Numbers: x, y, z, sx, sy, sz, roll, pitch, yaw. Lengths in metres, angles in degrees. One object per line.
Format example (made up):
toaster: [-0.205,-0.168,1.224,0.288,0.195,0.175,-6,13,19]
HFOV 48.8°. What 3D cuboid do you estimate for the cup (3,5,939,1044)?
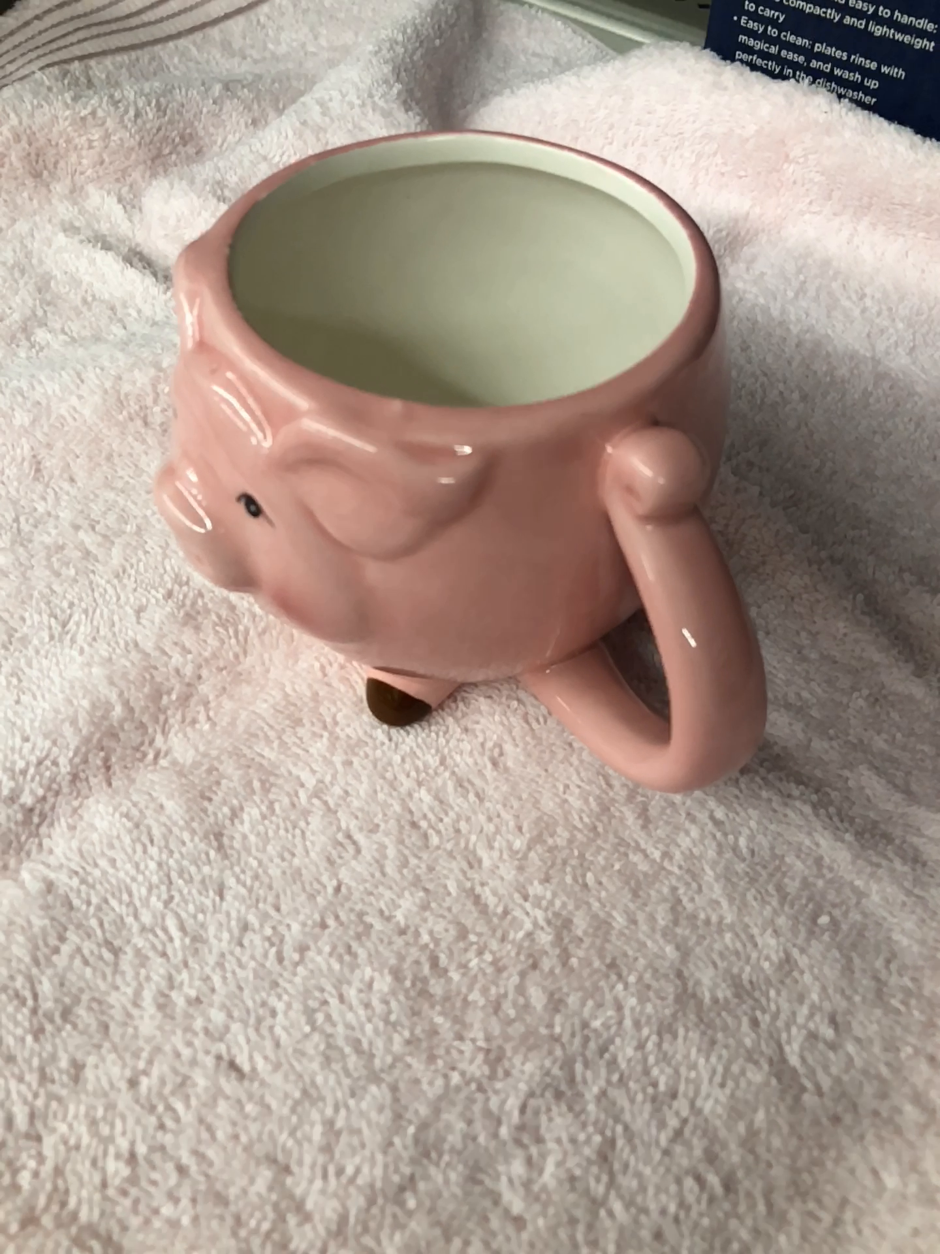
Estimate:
cup: [0.000,-0.028,0.195,0.100,0.090,0.151,-26,58,-17]
